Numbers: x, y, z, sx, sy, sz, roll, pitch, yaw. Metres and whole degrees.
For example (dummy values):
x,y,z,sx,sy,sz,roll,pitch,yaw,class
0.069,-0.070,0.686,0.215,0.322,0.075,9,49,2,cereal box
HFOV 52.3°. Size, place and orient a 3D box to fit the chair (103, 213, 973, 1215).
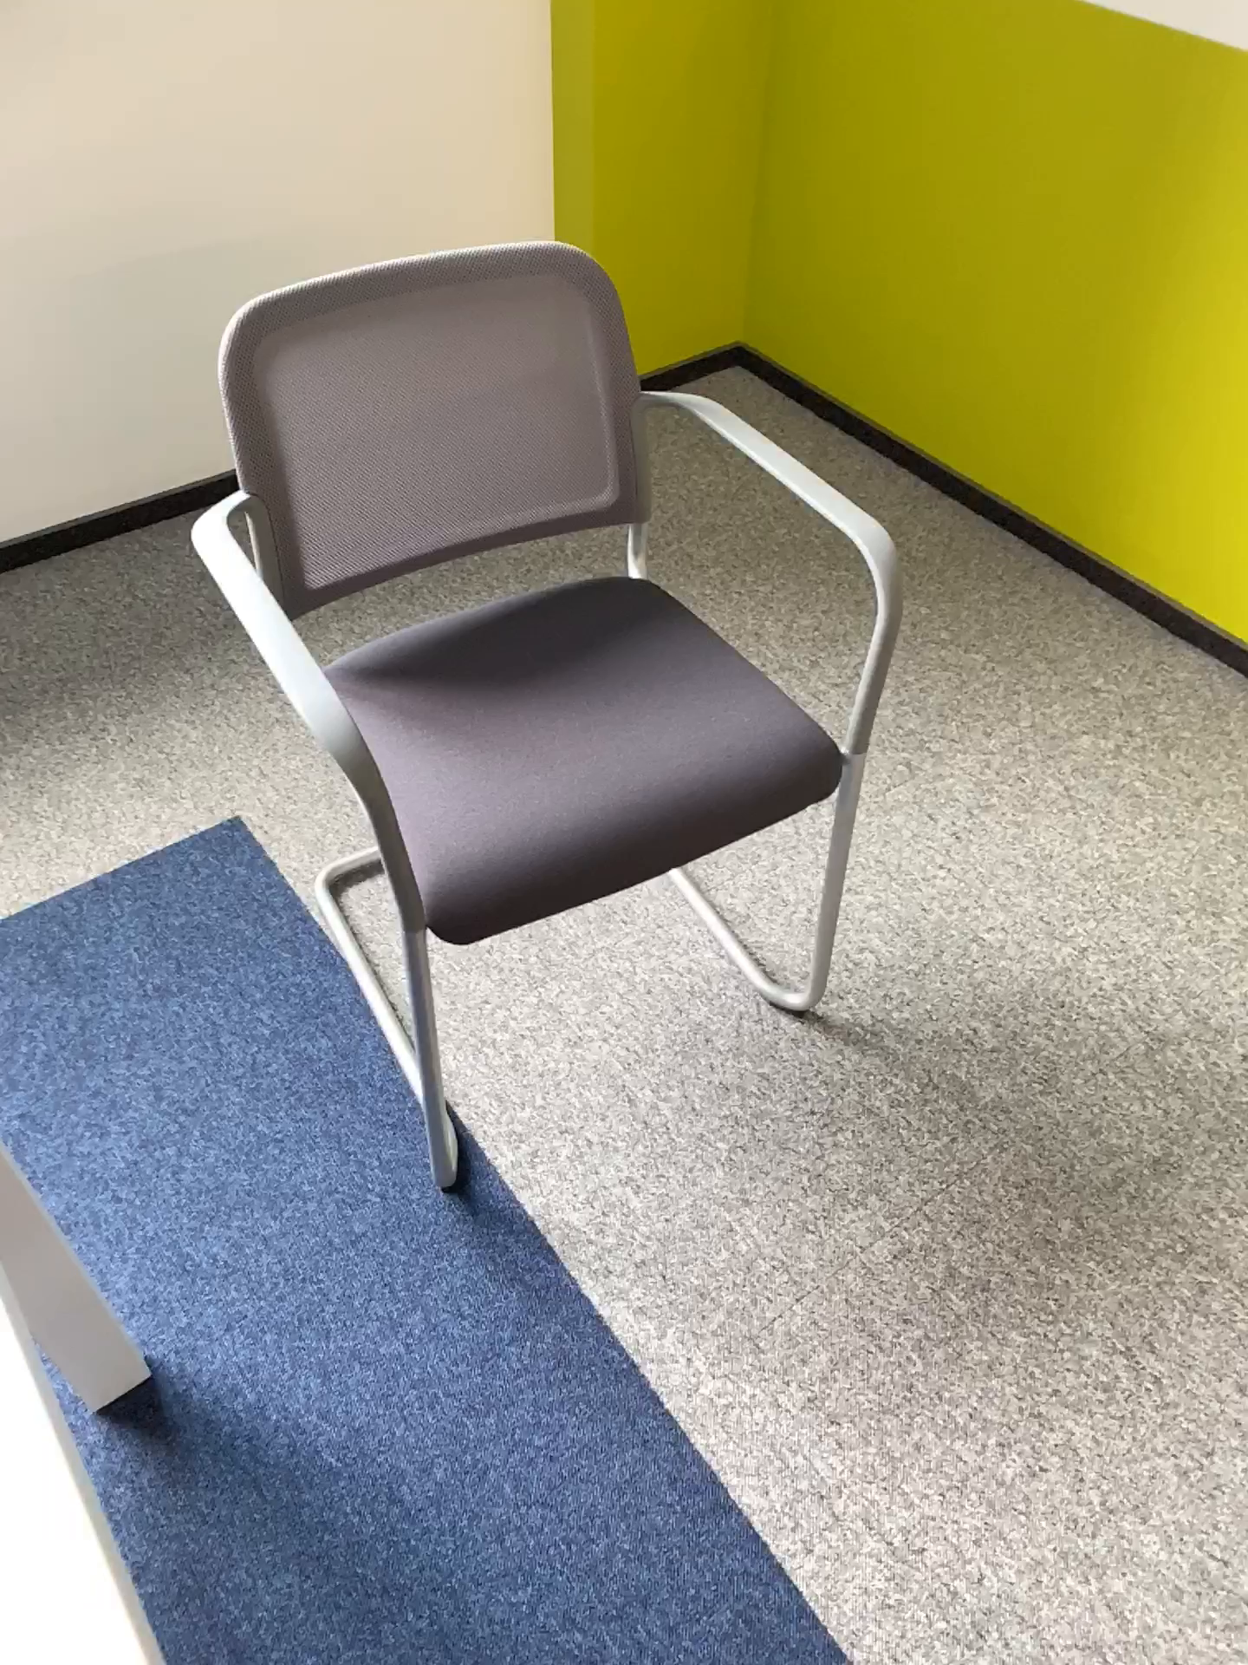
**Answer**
x,y,z,sx,sy,sz,roll,pitch,yaw,class
-0.102,-0.117,1.287,0.531,0.726,0.522,-20,50,-20,chair
